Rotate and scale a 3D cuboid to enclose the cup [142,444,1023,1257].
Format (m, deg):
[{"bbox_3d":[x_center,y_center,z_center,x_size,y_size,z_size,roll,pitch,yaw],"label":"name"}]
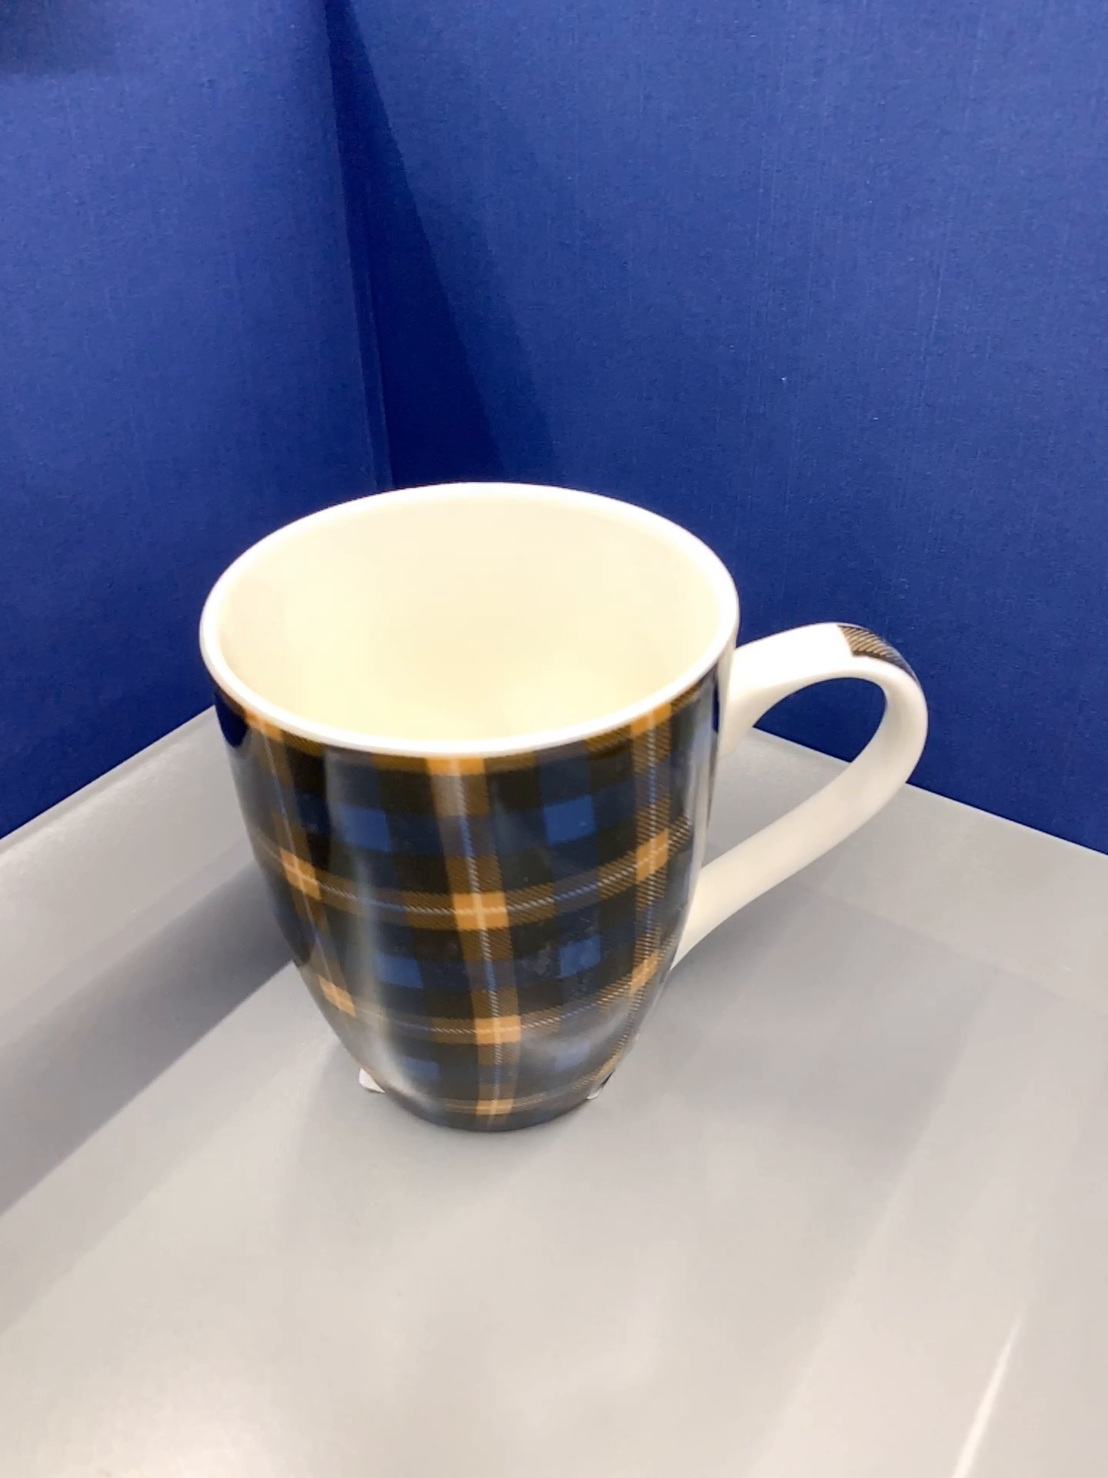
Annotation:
[{"bbox_3d":[-0.004,0.011,0.214,0.121,0.089,0.095,-10,35,-14],"label":"cup"}]
